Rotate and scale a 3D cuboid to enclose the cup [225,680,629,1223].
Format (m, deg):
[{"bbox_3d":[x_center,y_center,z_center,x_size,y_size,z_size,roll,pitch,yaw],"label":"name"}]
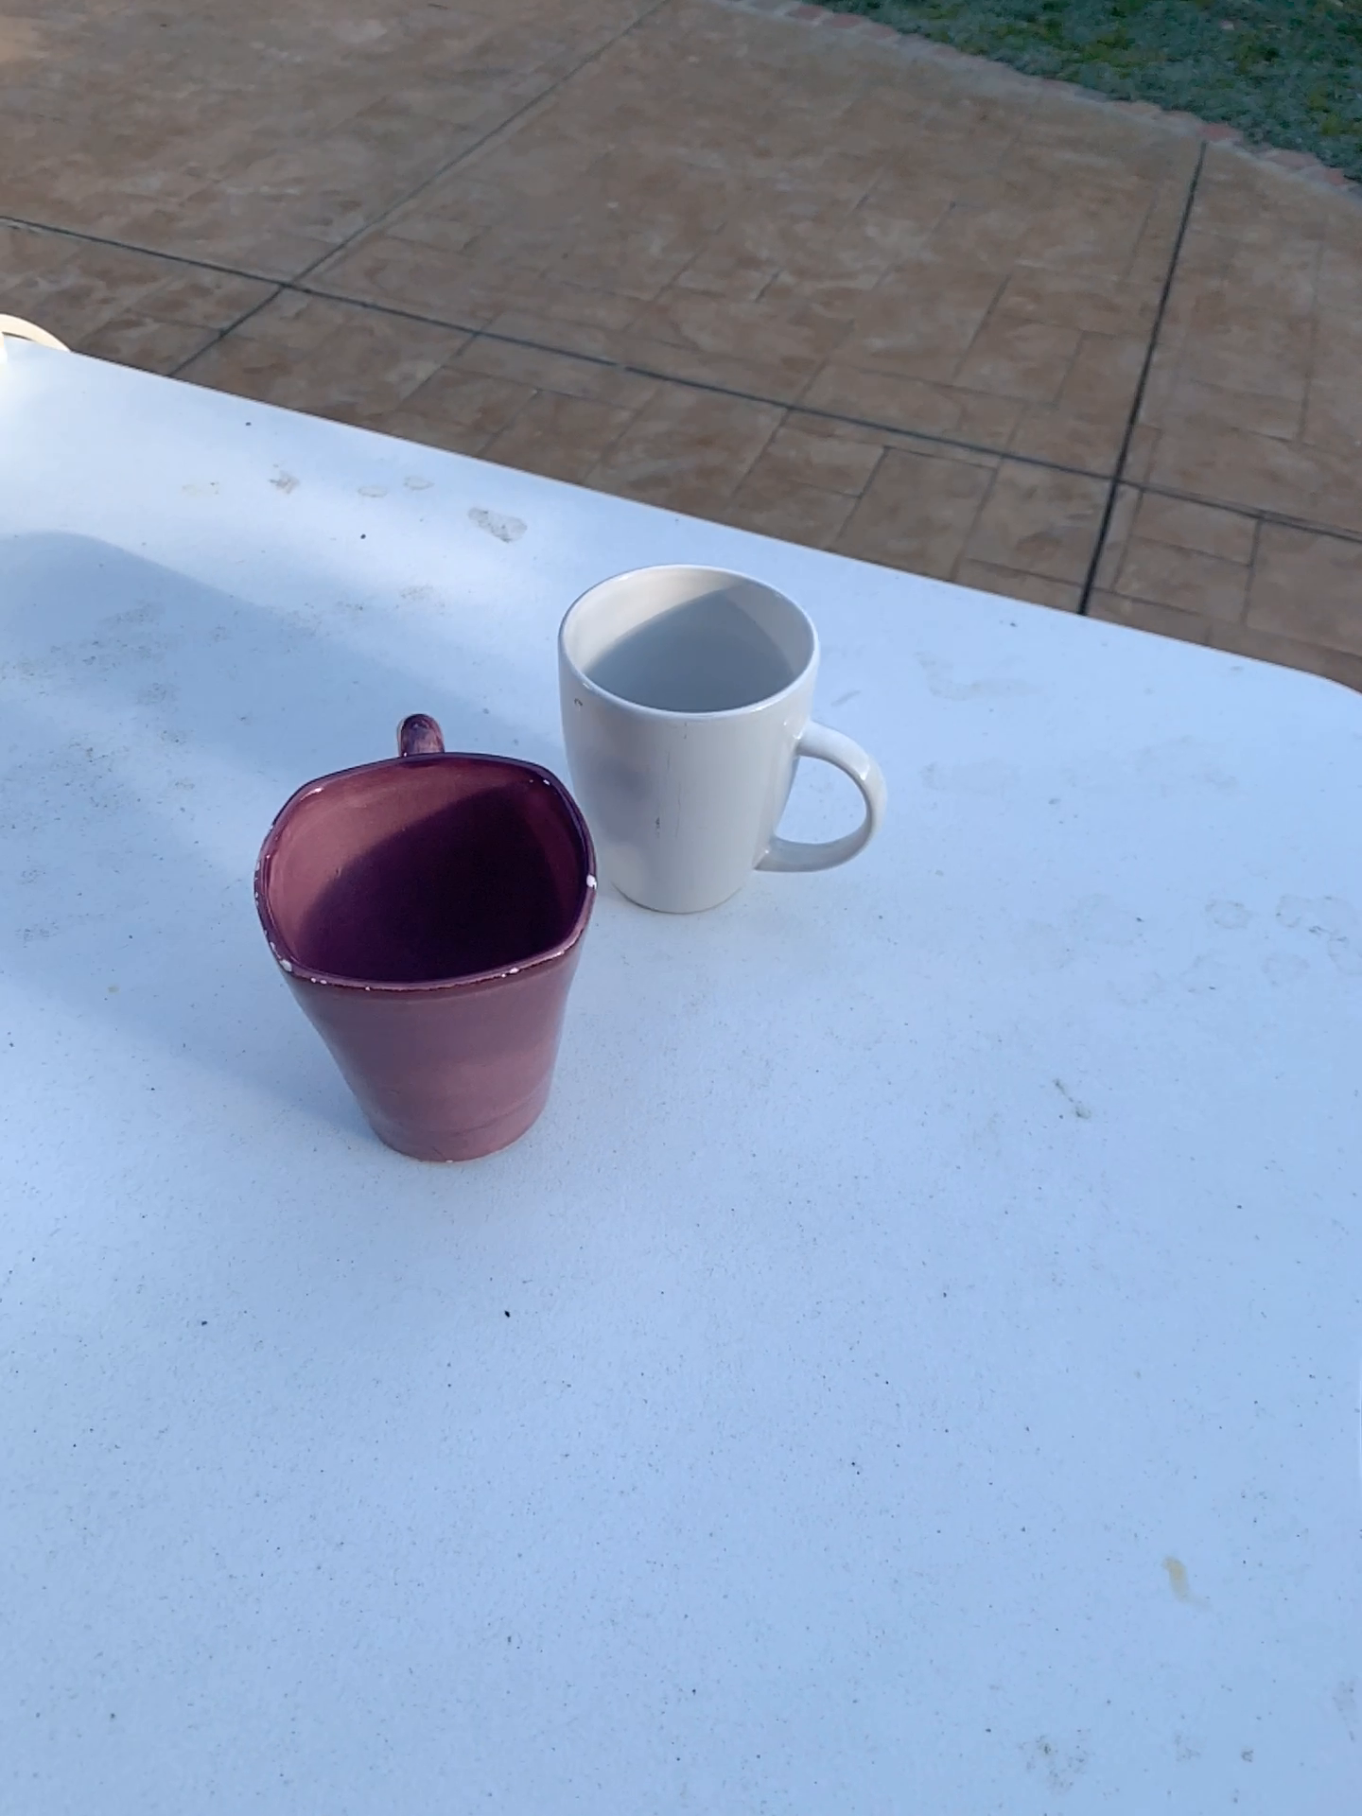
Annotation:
[{"bbox_3d":[-0.075,0.010,0.427,0.100,0.090,0.131,-5,48,-8],"label":"cup"}]

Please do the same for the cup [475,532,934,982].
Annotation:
[{"bbox_3d":[0.008,-0.057,0.495,0.120,0.080,0.100,24,50,17],"label":"cup"}]
